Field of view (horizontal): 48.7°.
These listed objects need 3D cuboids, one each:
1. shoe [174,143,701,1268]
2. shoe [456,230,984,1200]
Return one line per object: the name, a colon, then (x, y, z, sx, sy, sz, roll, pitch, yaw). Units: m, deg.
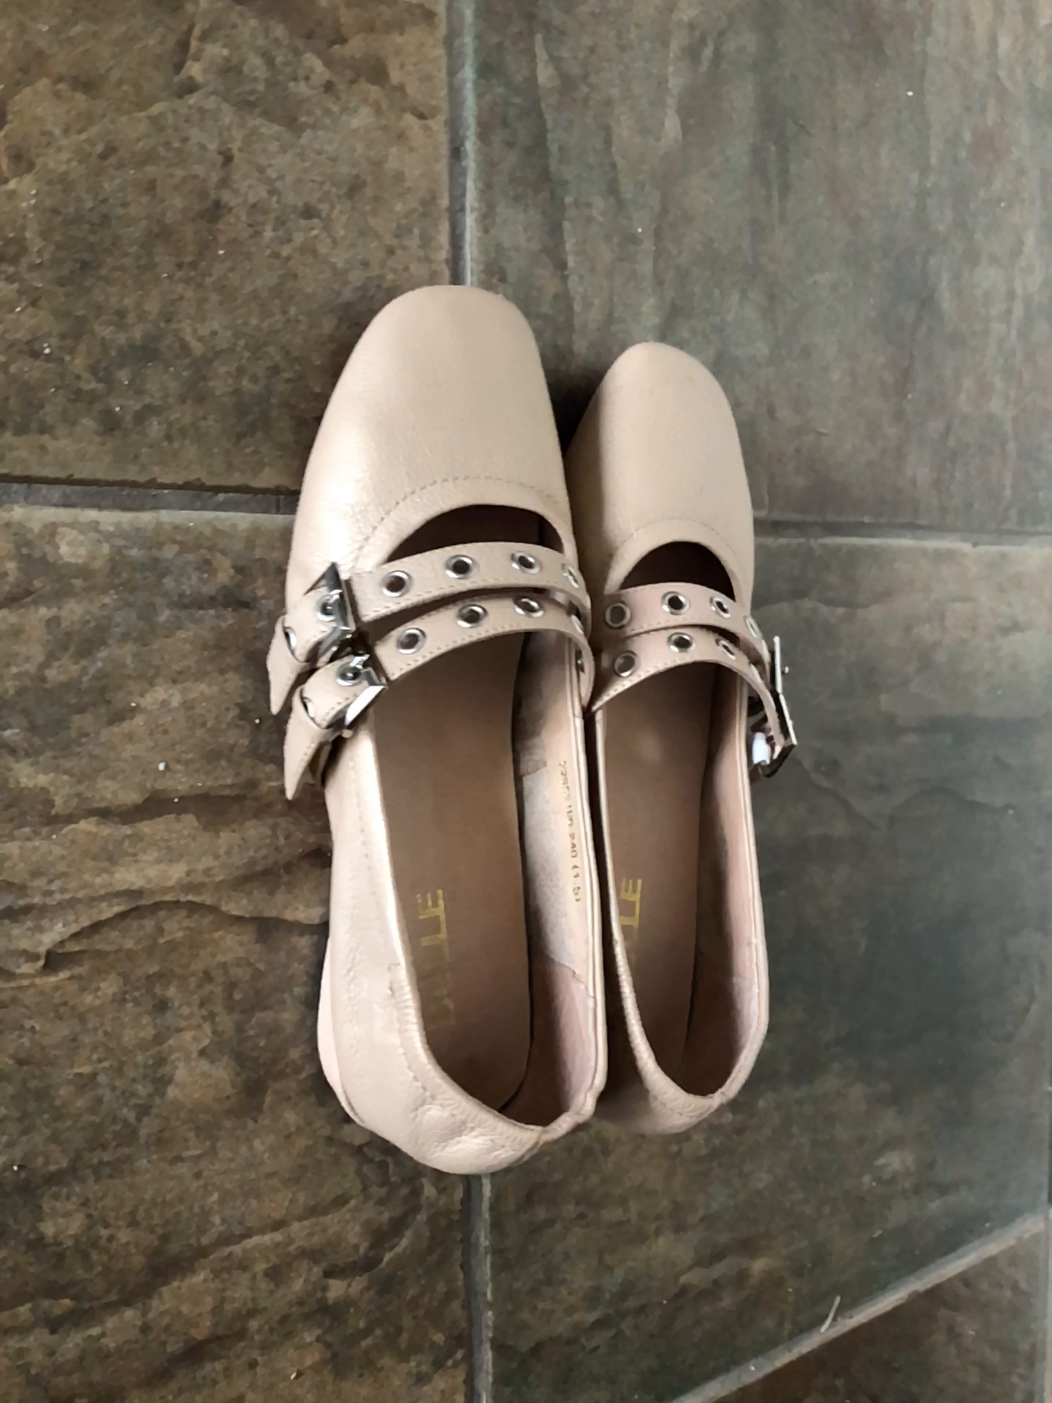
shoe: (-0.028, 0.002, 0.323, 0.100, 0.090, 0.250, 2, 92, -34)
shoe: (0.058, 0.005, 0.359, 0.090, 0.090, 0.250, 9, 89, -34)
